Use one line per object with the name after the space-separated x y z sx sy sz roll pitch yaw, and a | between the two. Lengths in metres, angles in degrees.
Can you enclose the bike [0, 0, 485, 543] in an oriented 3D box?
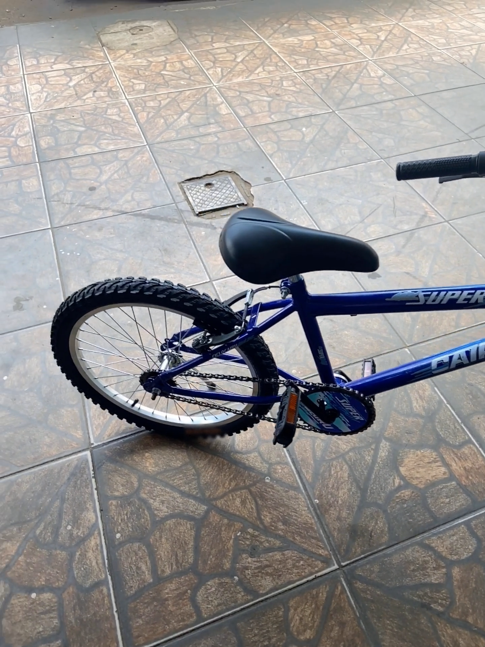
0.151 -0.046 0.872 1.181 0.950 0.546 1 51 3 | bike
